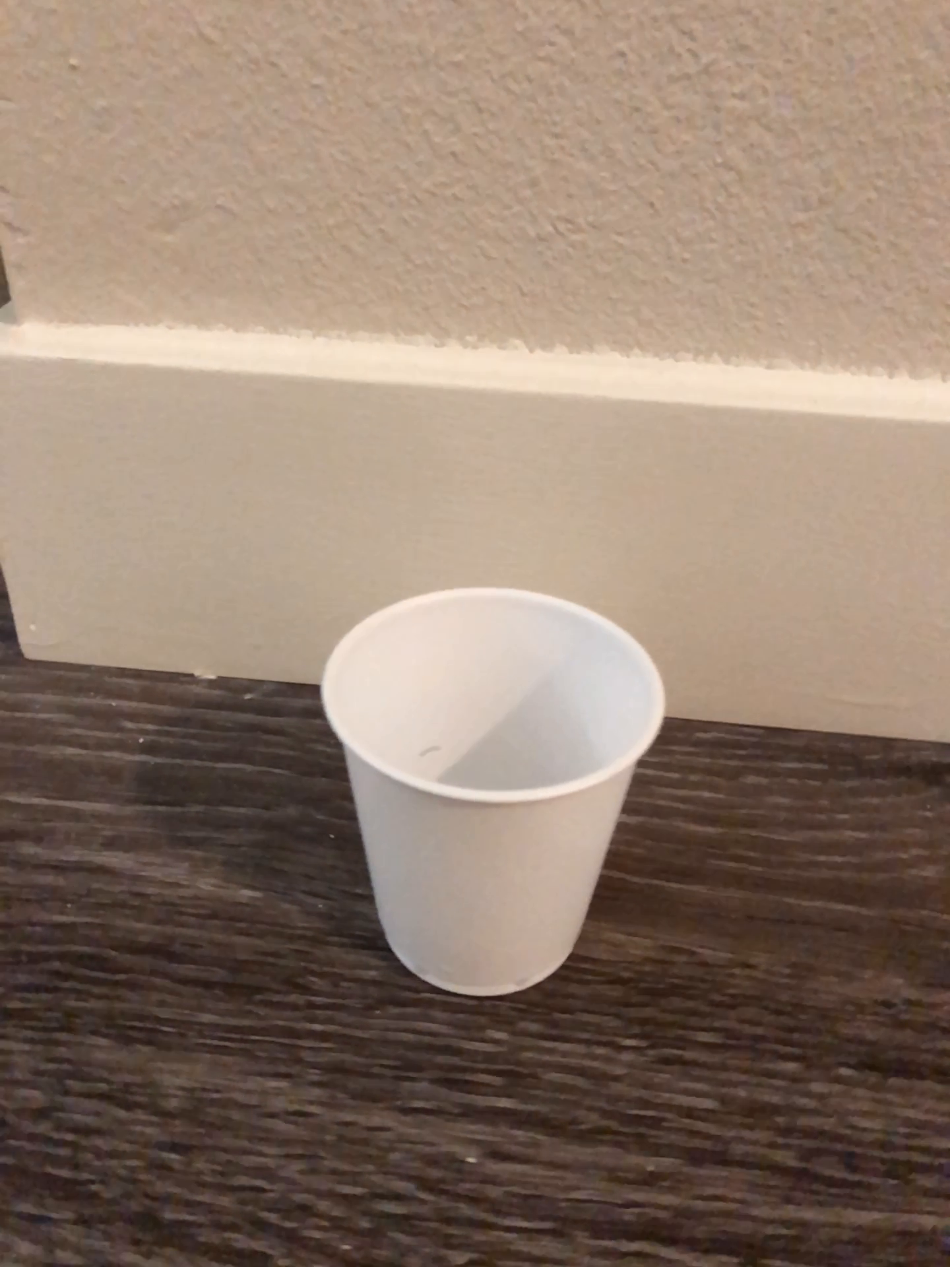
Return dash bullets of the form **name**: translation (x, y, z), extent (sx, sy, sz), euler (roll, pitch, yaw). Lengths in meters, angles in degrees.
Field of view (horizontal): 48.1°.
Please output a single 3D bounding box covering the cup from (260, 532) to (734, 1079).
- **cup**: translation (0.005, 0.028, 0.197), extent (0.060, 0.060, 0.060), euler (1, 34, -1)
